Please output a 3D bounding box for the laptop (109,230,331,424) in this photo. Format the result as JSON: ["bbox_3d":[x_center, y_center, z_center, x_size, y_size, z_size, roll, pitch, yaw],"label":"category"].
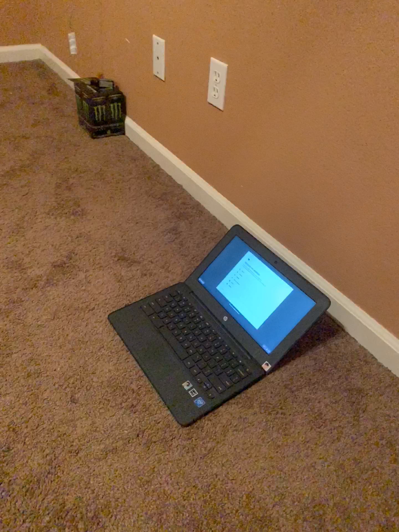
[{"bbox_3d":[0.034,0.097,0.845,0.332,0.124,0.289,-22,48,-28],"label":"laptop"}]
